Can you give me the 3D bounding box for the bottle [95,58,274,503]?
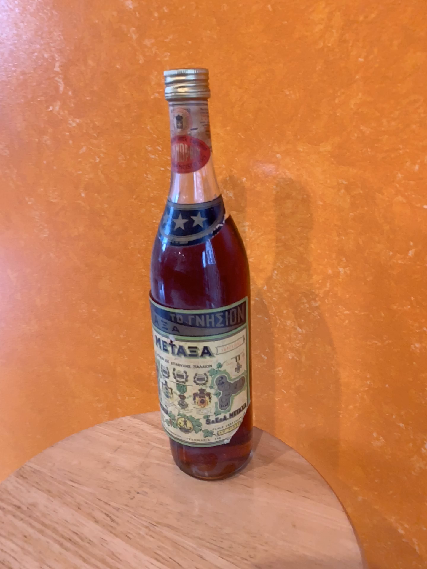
[{"bbox_3d":[-0.008,0.008,0.317,0.080,0.298,0.070,11,27,29],"label":"bottle"}]
